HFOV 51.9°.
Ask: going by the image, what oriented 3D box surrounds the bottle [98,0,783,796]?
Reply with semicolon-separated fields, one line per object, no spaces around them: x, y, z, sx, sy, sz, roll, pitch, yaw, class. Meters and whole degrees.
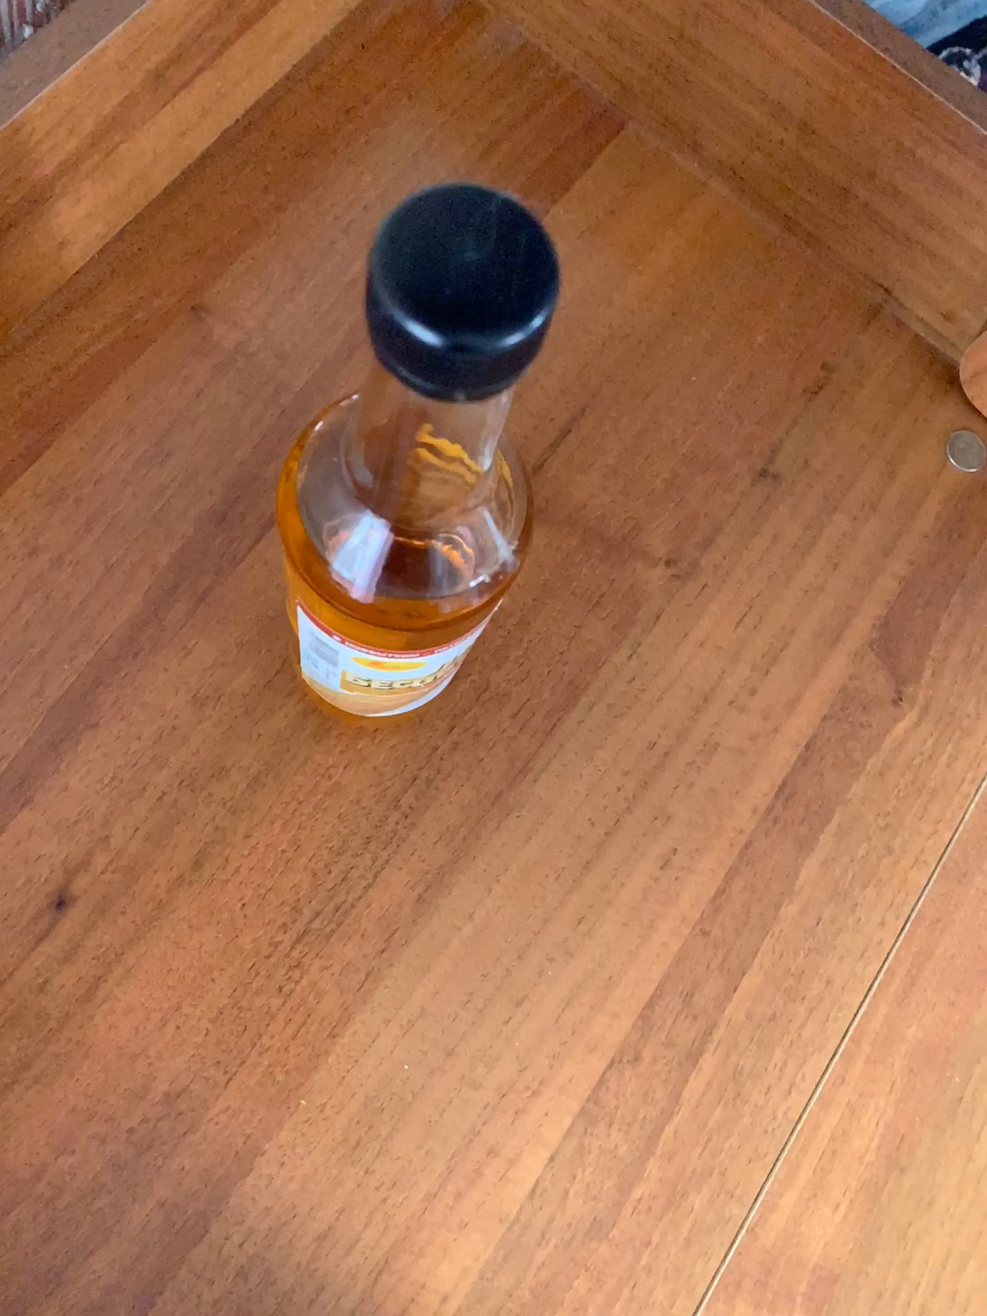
-0.028;-0.031;0.278;0.070;0.259;0.080;41;72;1;bottle
